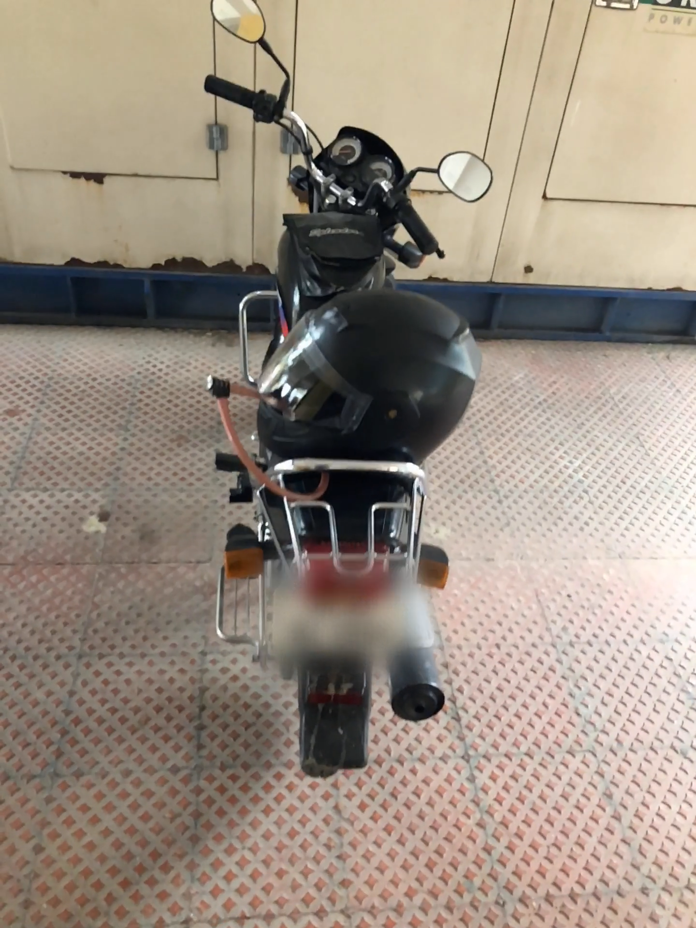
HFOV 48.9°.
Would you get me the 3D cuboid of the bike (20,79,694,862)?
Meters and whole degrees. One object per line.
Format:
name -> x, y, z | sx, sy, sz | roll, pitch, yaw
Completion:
bike -> 0.017, -0.187, 1.937 | 0.735, 1.086, 1.870 | 6, 36, -1
